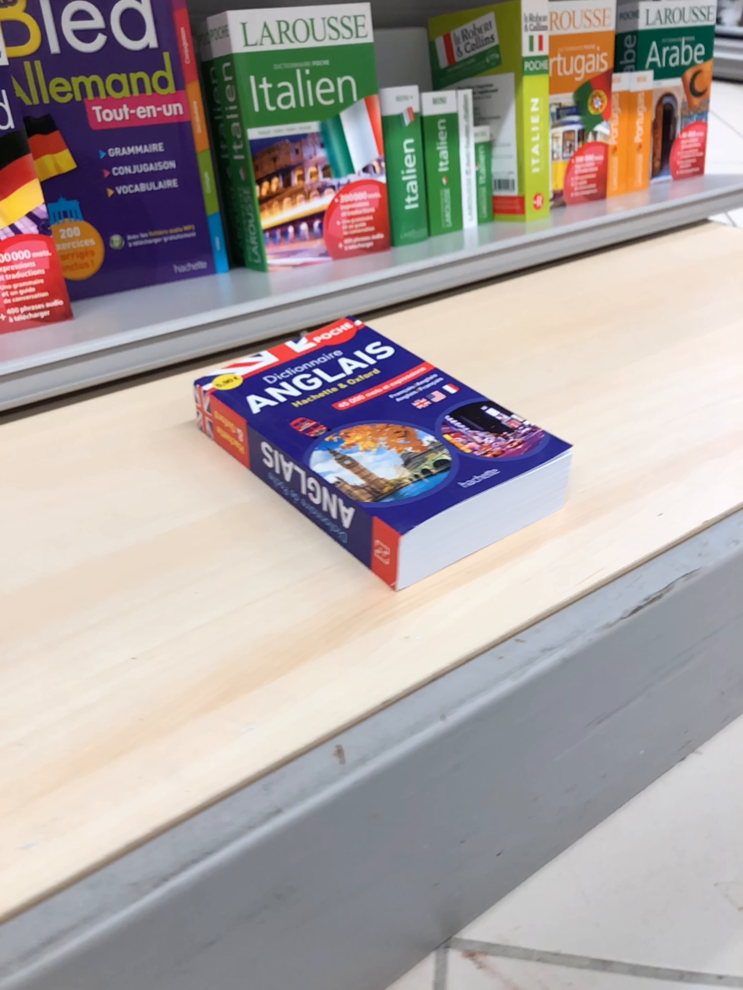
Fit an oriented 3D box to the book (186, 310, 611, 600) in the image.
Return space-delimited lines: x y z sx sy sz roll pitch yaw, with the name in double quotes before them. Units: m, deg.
"book" 0.006 -0.035 0.420 0.119 0.040 0.187 -23 41 -33
